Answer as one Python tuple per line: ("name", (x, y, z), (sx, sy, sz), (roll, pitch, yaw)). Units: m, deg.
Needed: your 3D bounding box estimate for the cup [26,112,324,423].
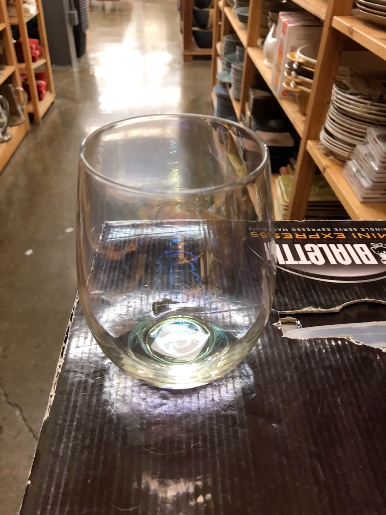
("cup", (-0.008, 0.003, 0.198), (0.089, 0.107, 0.093), (1, 38, -1))
